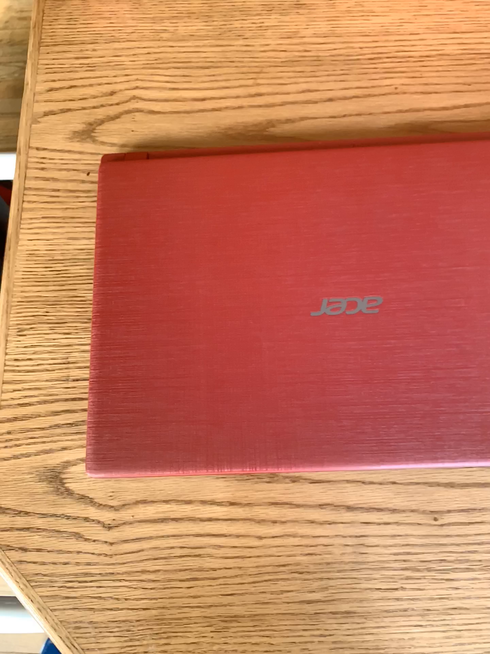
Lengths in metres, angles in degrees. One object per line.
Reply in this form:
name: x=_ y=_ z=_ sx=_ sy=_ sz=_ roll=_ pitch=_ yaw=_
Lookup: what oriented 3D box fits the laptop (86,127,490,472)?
laptop: x=0.068 y=-0.022 z=0.365 sx=0.362 sy=0.013 sz=0.236 roll=-2 pitch=78 yaw=4
